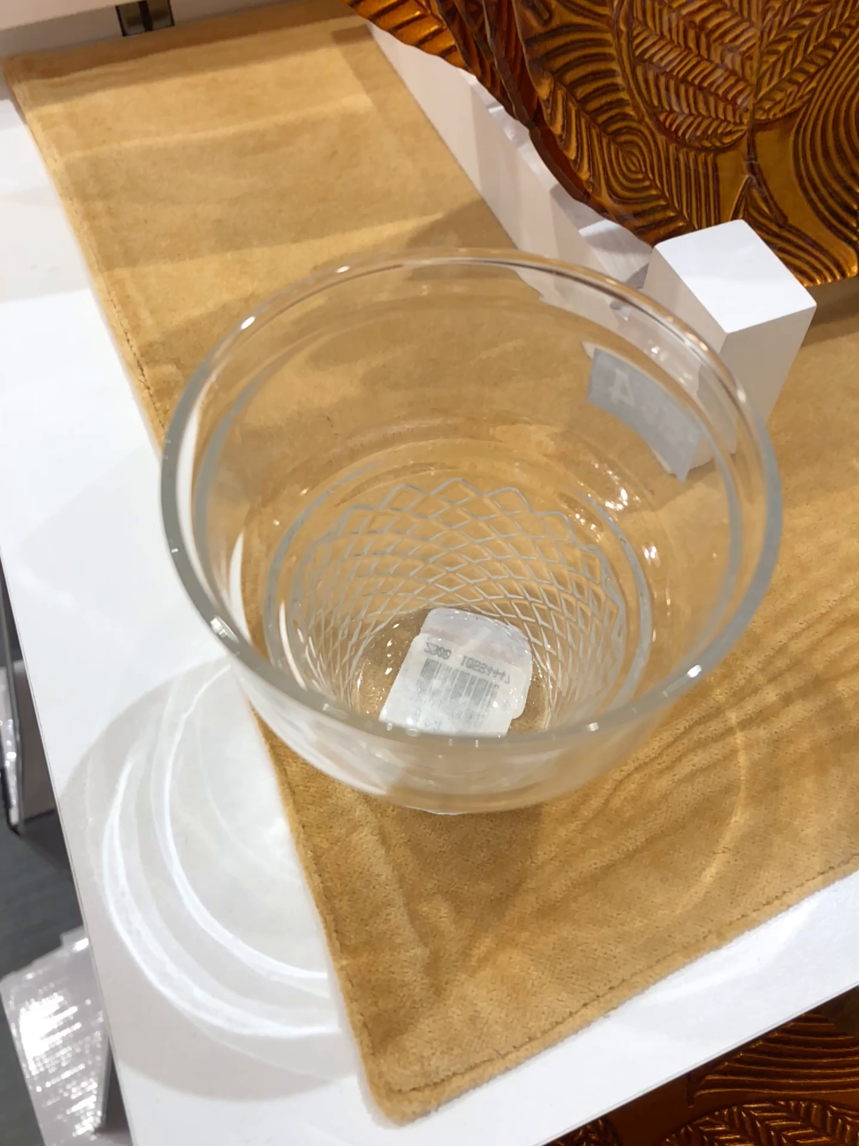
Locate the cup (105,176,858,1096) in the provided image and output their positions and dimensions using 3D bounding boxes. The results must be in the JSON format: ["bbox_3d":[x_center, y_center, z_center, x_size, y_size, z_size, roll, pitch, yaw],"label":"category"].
[{"bbox_3d":[0.019,0.008,0.139,0.080,0.070,0.080,0,57,-1],"label":"cup"}]
